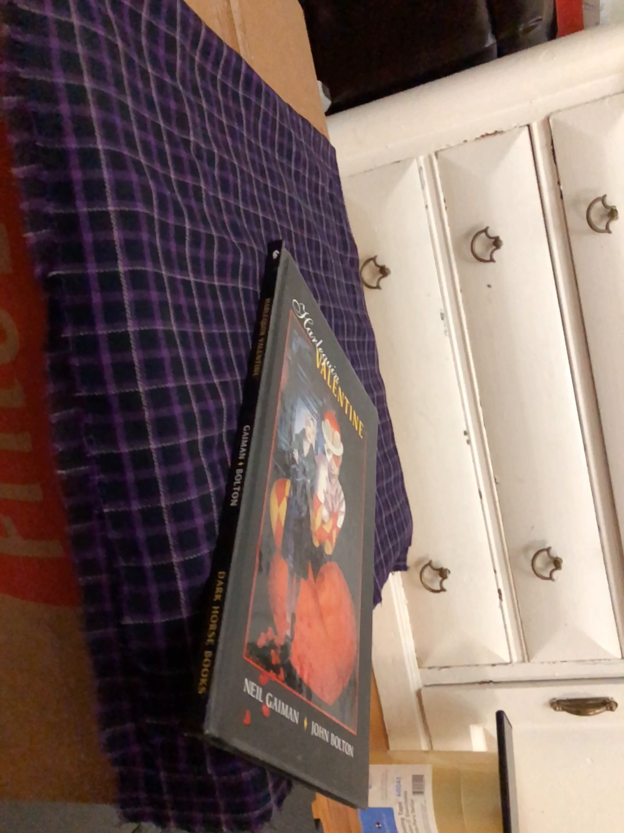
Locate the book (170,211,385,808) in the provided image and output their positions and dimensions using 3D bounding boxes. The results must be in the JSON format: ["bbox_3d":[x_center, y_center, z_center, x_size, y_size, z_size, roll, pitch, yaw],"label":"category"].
[{"bbox_3d":[0.003,0.047,0.386,0.180,0.020,0.281,55,31,-48],"label":"book"}]
